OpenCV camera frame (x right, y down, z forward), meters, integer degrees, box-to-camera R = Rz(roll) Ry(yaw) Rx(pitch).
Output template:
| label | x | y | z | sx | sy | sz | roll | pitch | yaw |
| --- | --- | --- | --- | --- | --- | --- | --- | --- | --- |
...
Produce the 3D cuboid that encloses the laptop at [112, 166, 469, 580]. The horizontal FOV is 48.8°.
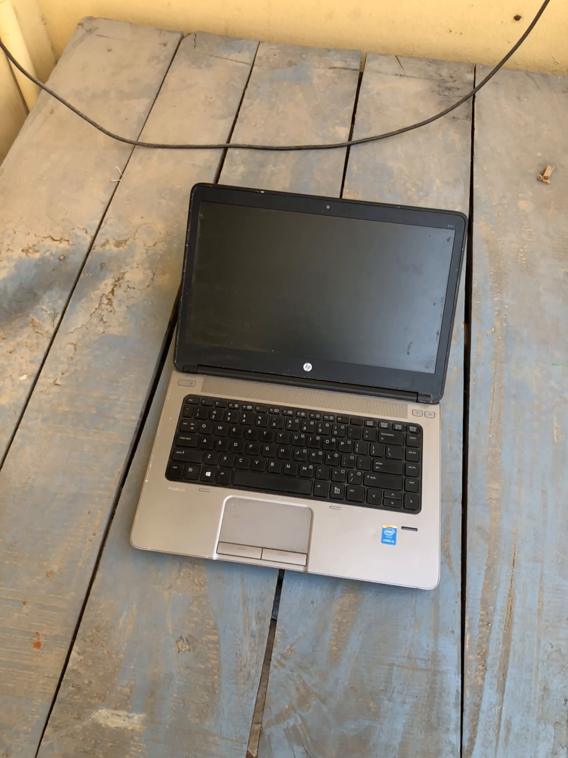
| label | x | y | z | sx | sy | sz | roll | pitch | yaw |
| --- | --- | --- | --- | --- | --- | --- | --- | --- | --- |
| laptop | 0.028 | -0.022 | 0.681 | 0.306 | 0.123 | 0.390 | 8 | 63 | 4 |
